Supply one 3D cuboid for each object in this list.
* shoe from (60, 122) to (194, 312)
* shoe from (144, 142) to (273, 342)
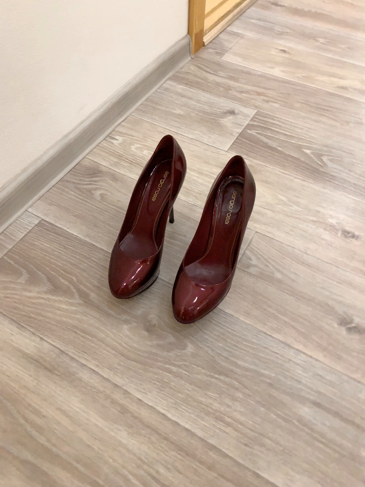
[{"bbox_3d":[-0.063,-0.040,0.533,0.086,0.149,0.211,17,54,11],"label":"shoe"},{"bbox_3d":[0.038,-0.005,0.507,0.086,0.149,0.211,19,54,12],"label":"shoe"}]
